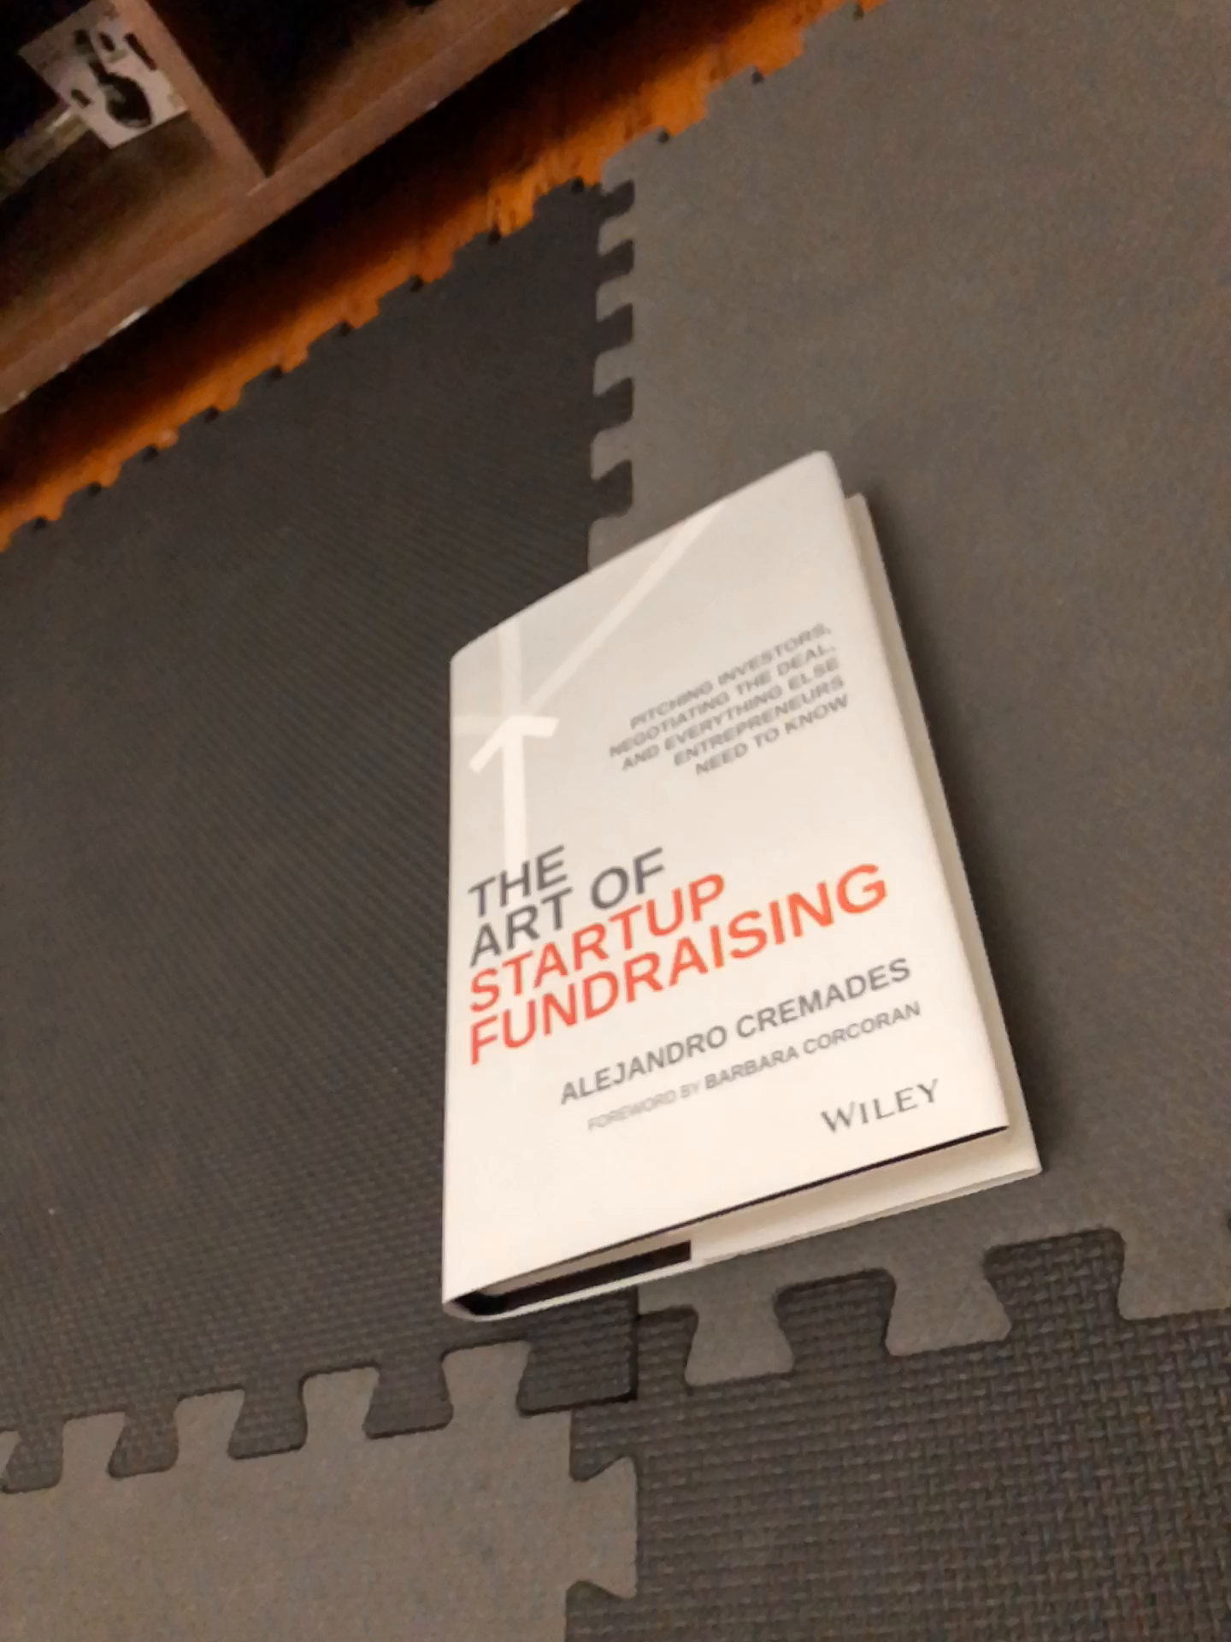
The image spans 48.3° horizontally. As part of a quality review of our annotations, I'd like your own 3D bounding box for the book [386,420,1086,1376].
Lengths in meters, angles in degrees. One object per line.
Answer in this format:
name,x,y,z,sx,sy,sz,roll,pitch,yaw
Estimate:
book,0.017,0.011,0.398,0.170,0.030,0.251,-23,47,24
